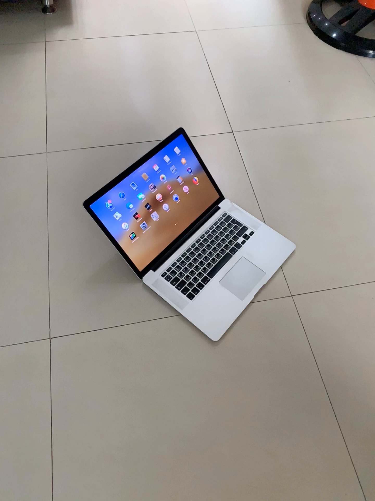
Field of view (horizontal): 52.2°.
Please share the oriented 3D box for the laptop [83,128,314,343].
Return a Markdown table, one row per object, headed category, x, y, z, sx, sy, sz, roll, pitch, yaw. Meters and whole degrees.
| category | x | y | z | sx | sy | sz | roll | pitch | yaw |
| --- | --- | --- | --- | --- | --- | --- | --- | --- | --- |
| laptop | 0.026 | -0.059 | 0.964 | 0.415 | 0.162 | 0.353 | 36 | 63 | 18 |
